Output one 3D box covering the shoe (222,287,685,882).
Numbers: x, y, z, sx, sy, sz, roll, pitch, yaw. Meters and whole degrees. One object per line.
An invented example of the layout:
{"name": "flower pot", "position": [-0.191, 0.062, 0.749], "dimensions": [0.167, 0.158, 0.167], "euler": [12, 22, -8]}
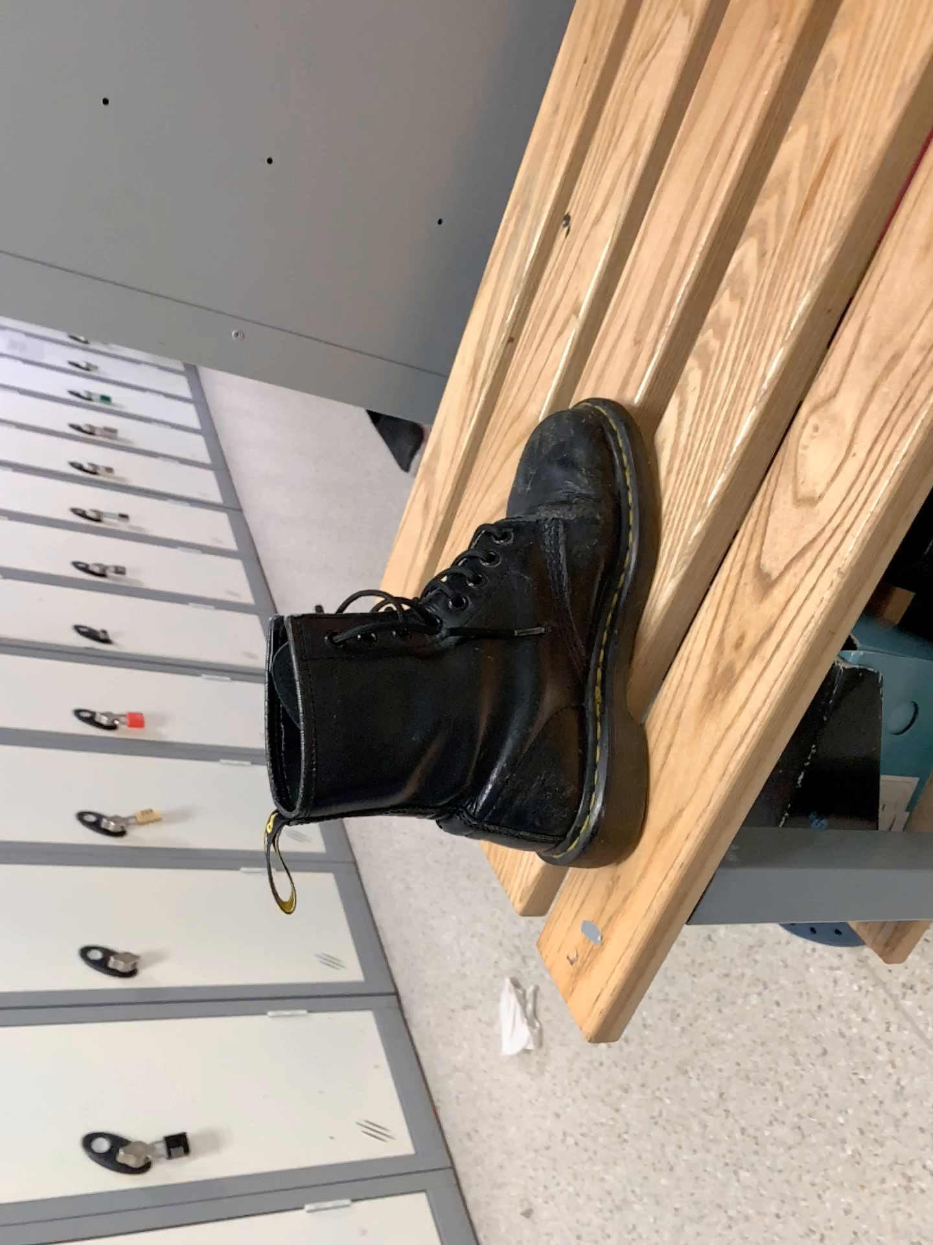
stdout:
{"name": "shoe", "position": [-0.002, -0.005, 0.508], "dimensions": [0.107, 0.199, 0.261], "euler": [-14, 70, 61]}
